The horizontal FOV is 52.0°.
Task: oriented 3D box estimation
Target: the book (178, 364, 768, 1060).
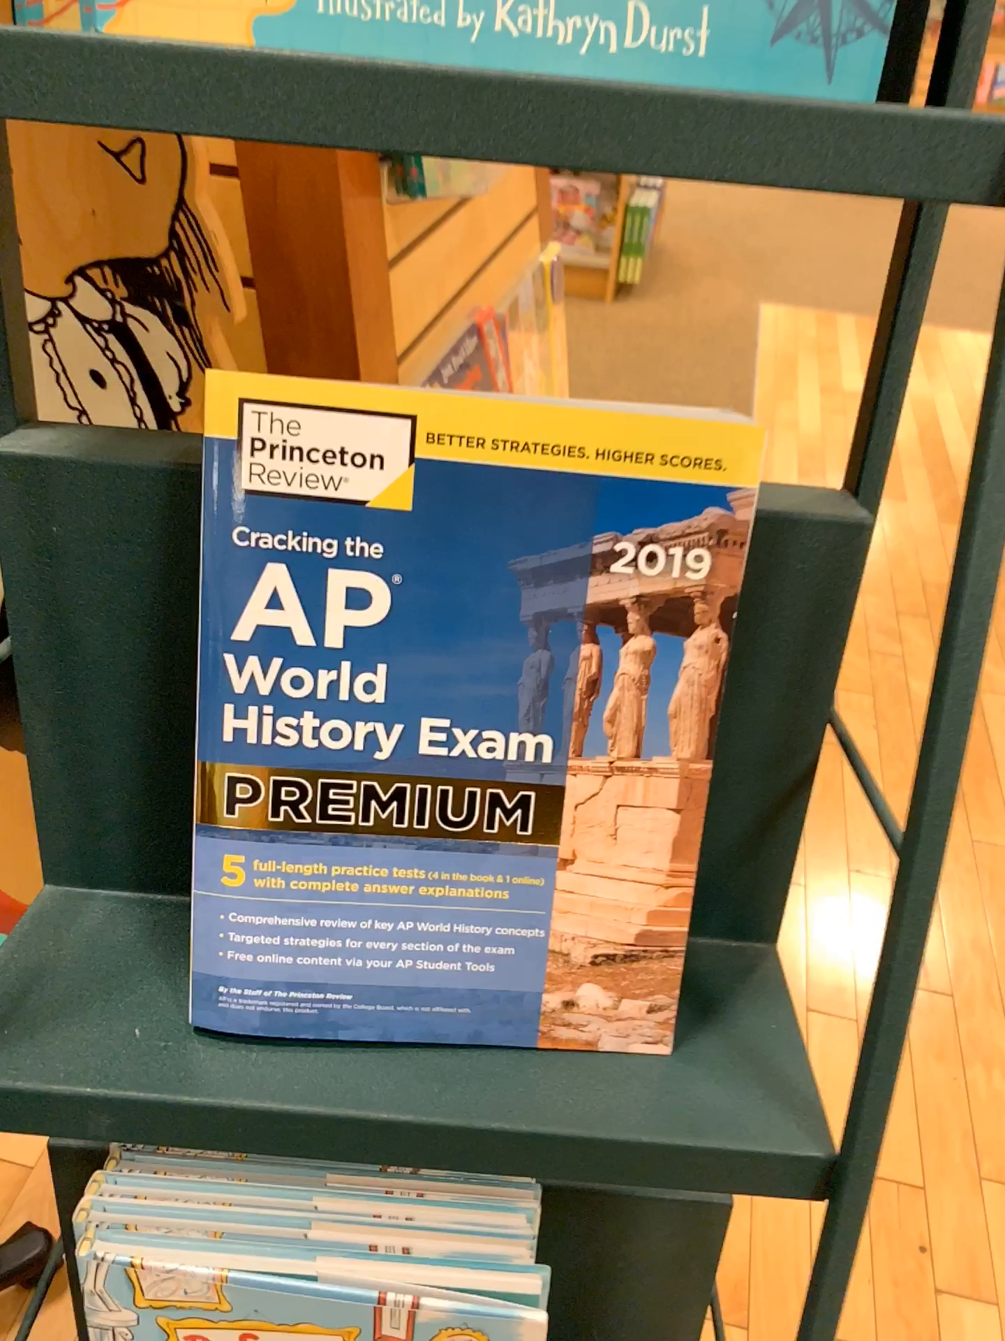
[{"bbox_3d":[-0.019,0.020,0.431,0.214,0.269,0.057,3,13,-1],"label":"book"}]
